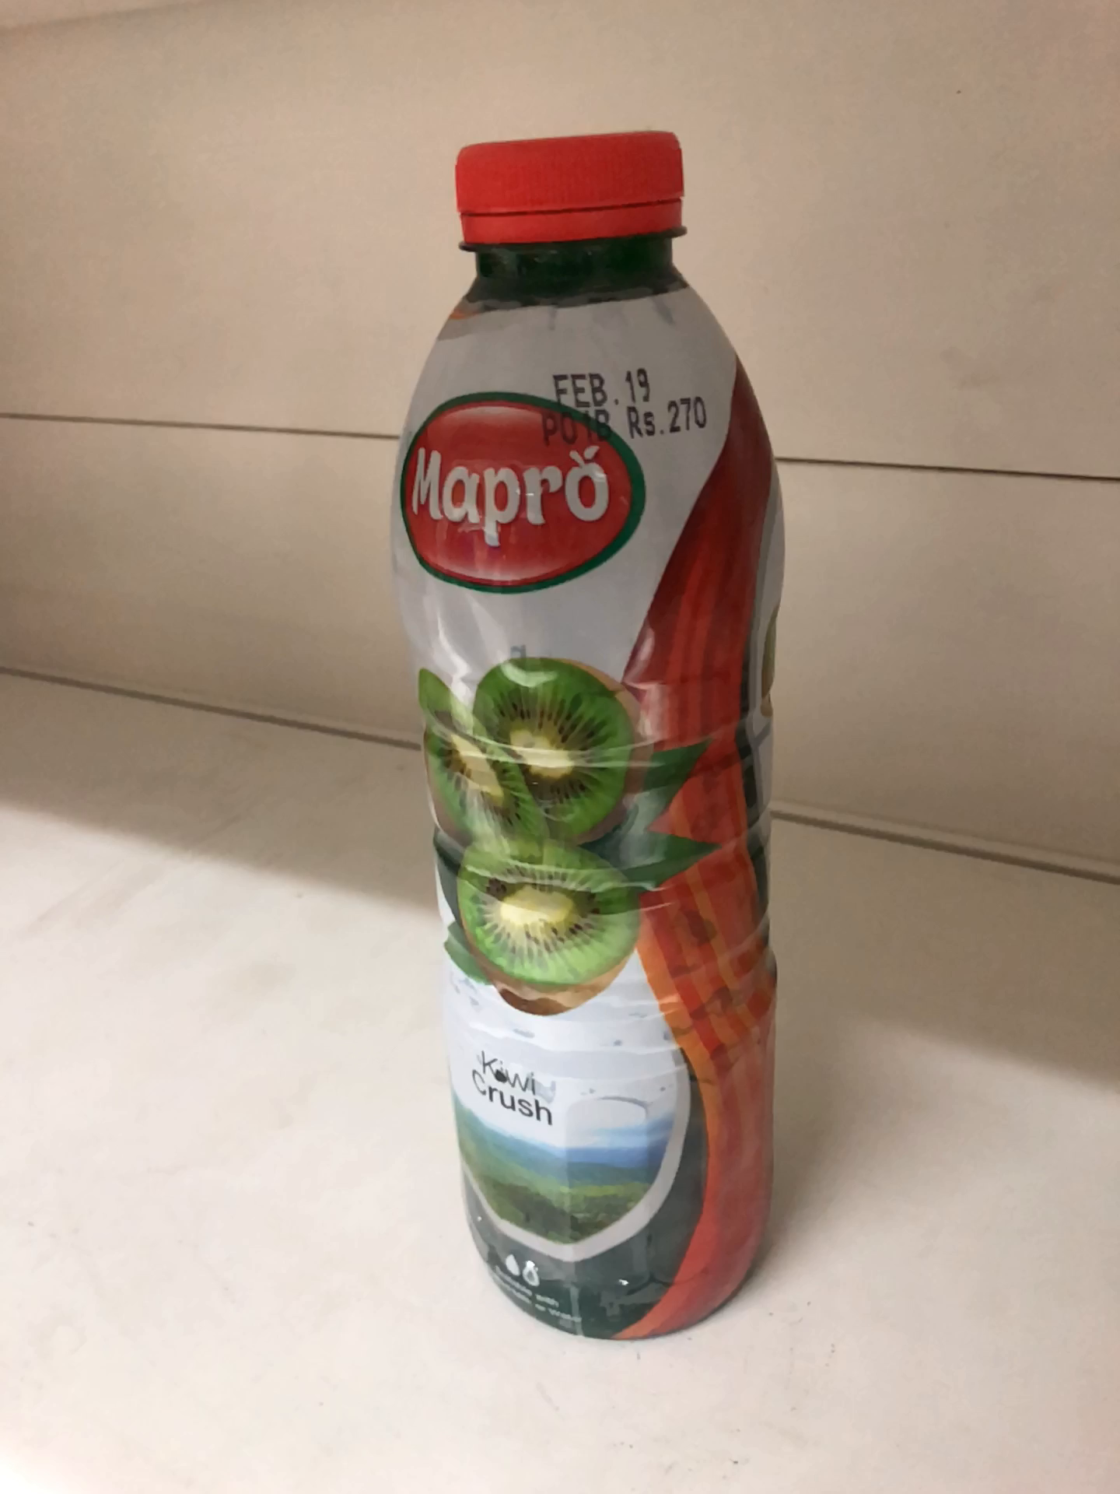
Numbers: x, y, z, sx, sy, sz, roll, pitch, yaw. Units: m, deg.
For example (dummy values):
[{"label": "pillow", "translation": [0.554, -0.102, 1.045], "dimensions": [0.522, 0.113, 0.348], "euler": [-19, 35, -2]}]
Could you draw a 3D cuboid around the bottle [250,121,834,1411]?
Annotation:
[{"label": "bottle", "translation": [0.005, 0.011, 0.273], "dimensions": [0.080, 0.259, 0.070], "euler": [9, 27, 26]}]
